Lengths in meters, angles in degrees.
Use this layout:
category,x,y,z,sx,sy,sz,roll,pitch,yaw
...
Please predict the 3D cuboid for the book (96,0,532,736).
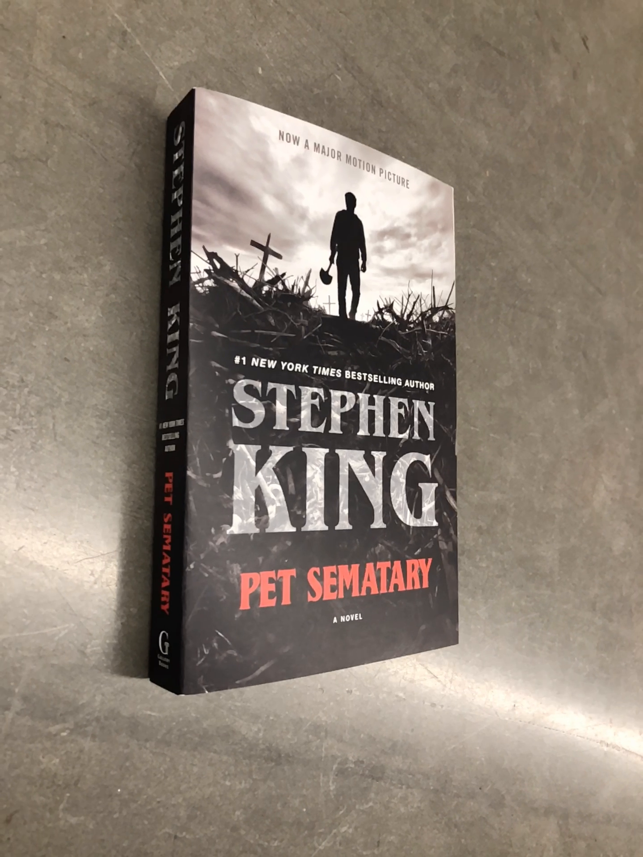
category,x,y,z,sx,sy,sz,roll,pitch,yaw
book,0.008,-0.019,0.273,0.161,0.050,0.220,5,88,-41
